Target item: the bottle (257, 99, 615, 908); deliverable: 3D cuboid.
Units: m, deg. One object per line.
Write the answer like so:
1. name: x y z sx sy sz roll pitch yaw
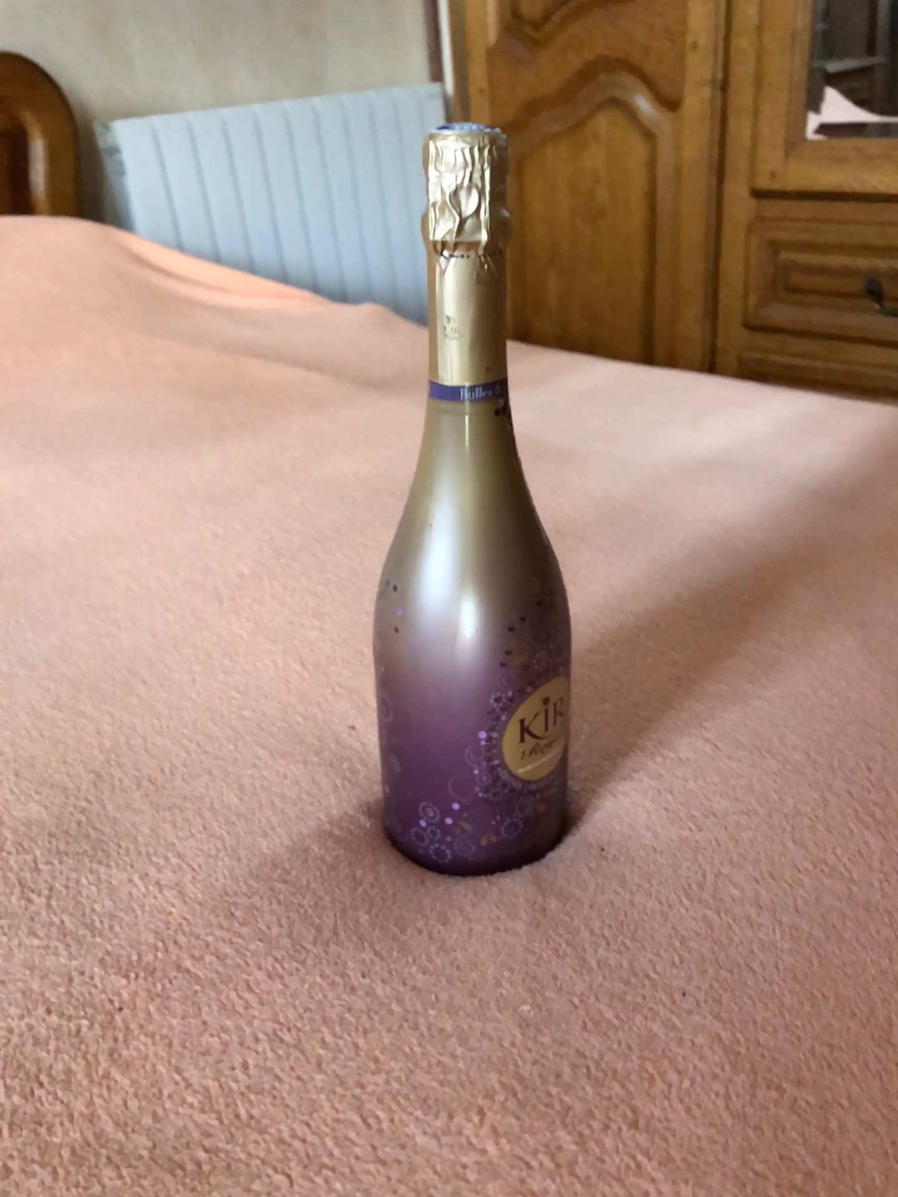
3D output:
1. bottle: 0.005 -0.034 0.419 0.090 0.308 0.090 -3 26 2
